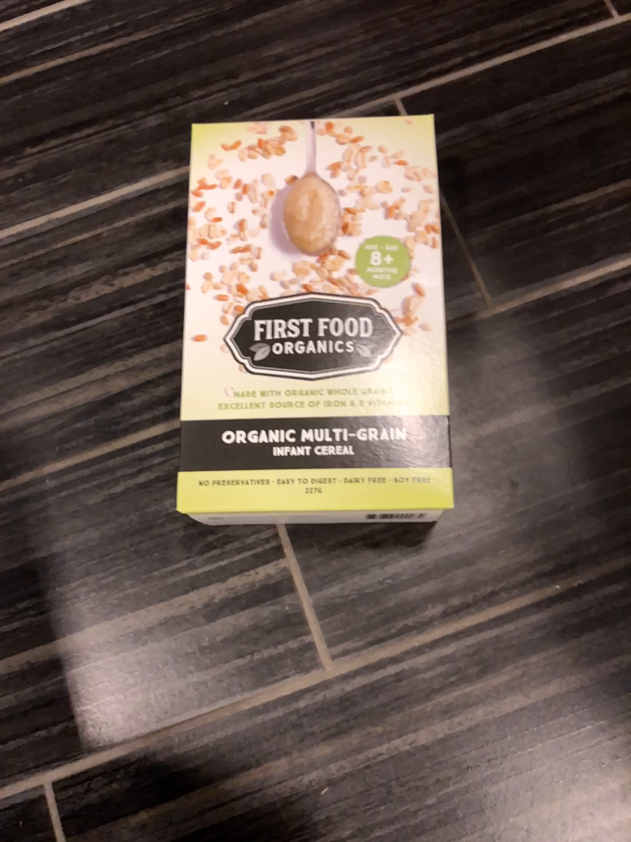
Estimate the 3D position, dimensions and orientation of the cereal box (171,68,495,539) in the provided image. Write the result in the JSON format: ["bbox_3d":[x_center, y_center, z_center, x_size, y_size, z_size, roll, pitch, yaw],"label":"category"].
[{"bbox_3d":[0.006,-0.060,0.362,0.140,0.060,0.230,-2,75,3],"label":"cereal box"}]
